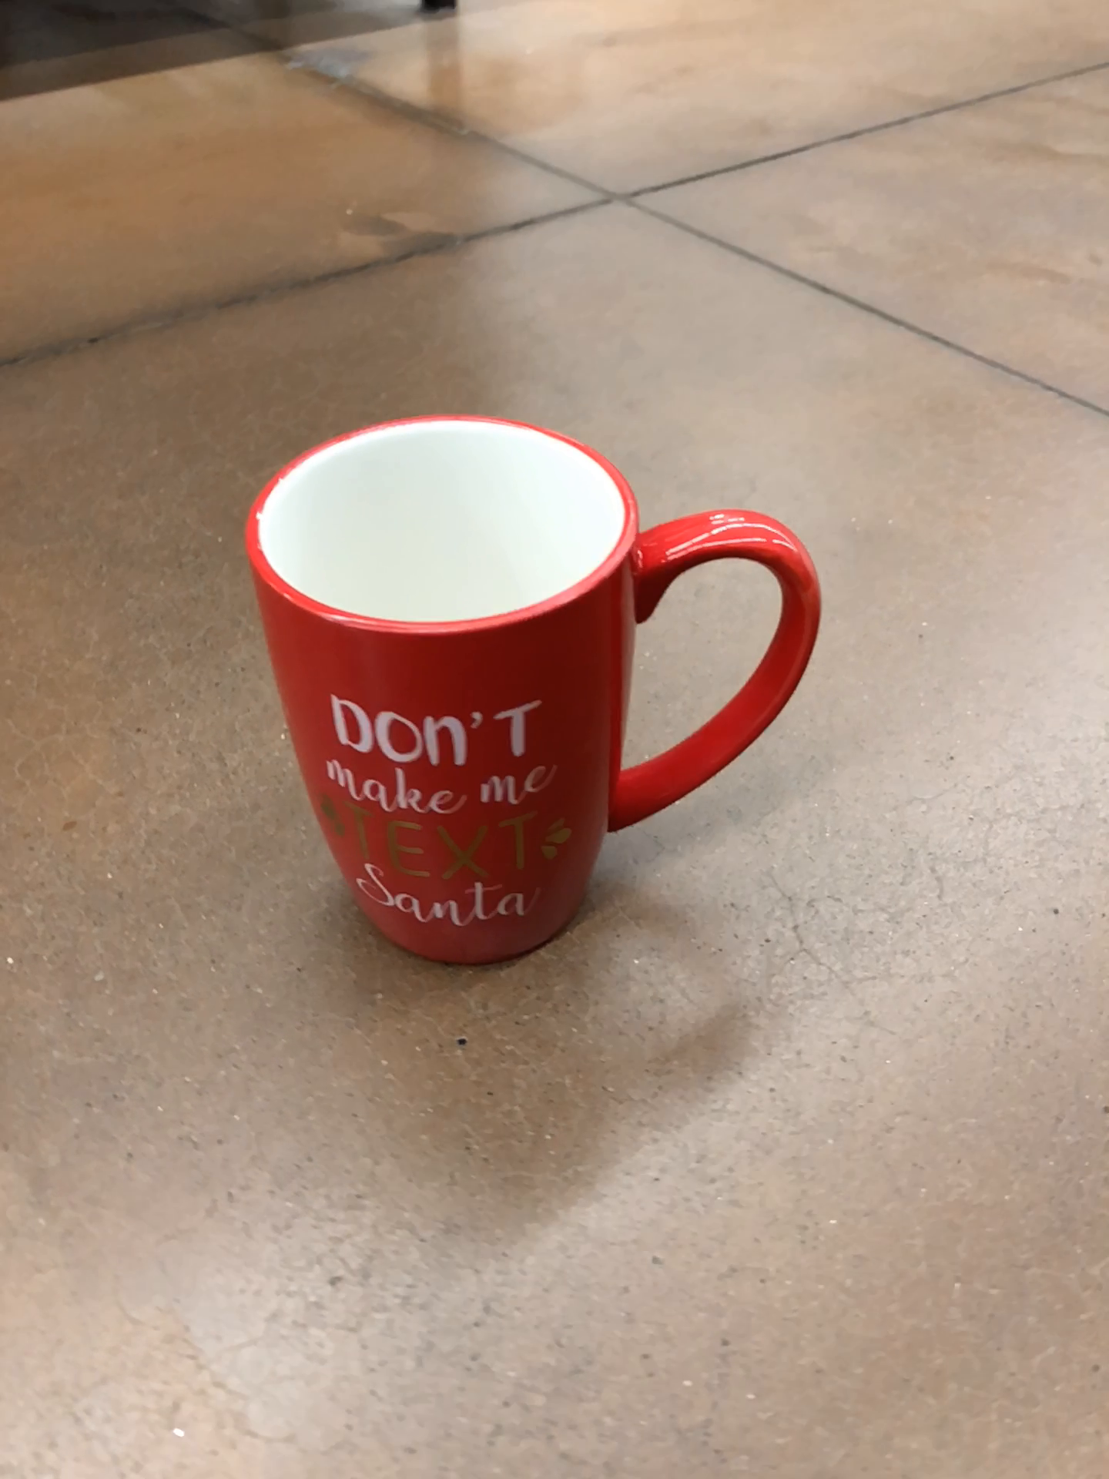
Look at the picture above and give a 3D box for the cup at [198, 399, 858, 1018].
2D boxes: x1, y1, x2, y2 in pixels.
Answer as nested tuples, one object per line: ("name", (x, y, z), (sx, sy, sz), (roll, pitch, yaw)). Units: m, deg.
("cup", (-0.006, -0.006, 0.320), (0.130, 0.130, 0.090), (-1, 42, -1))
